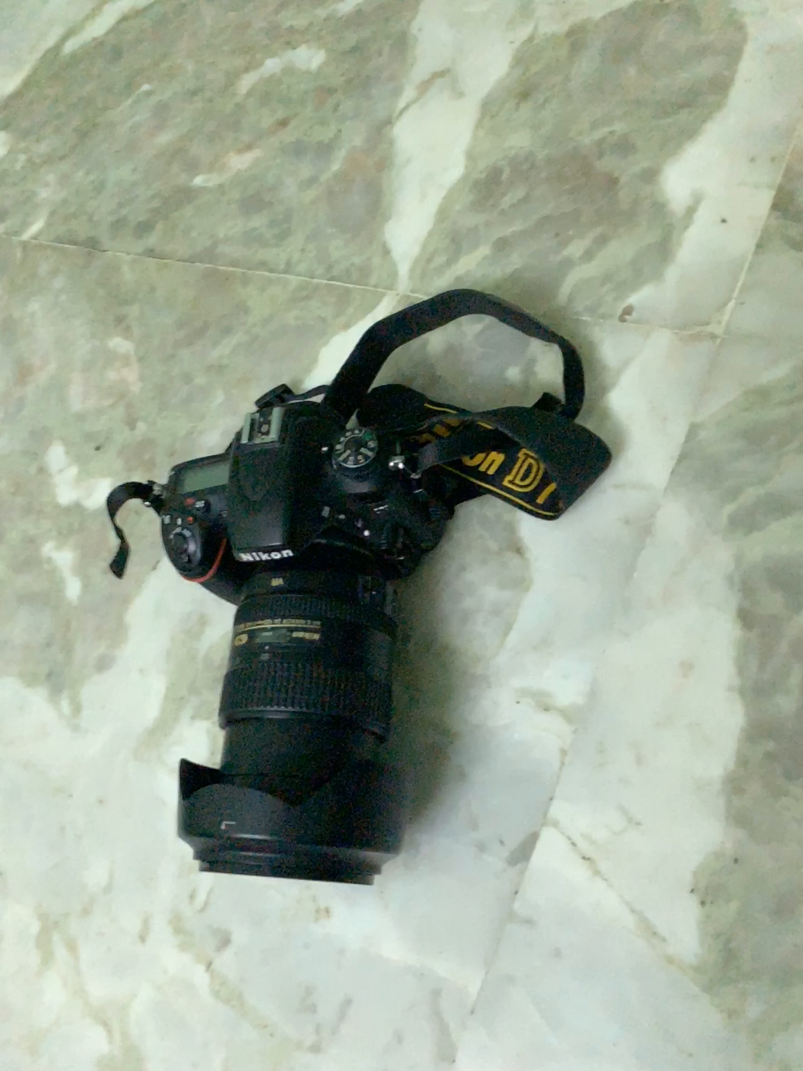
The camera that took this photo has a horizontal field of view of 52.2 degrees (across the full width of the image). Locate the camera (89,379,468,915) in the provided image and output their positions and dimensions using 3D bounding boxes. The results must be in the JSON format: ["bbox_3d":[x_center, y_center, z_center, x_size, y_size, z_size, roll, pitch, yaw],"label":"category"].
[{"bbox_3d":[-0.047,0.054,0.380,0.130,0.090,0.210,-8,68,23],"label":"camera"}]
